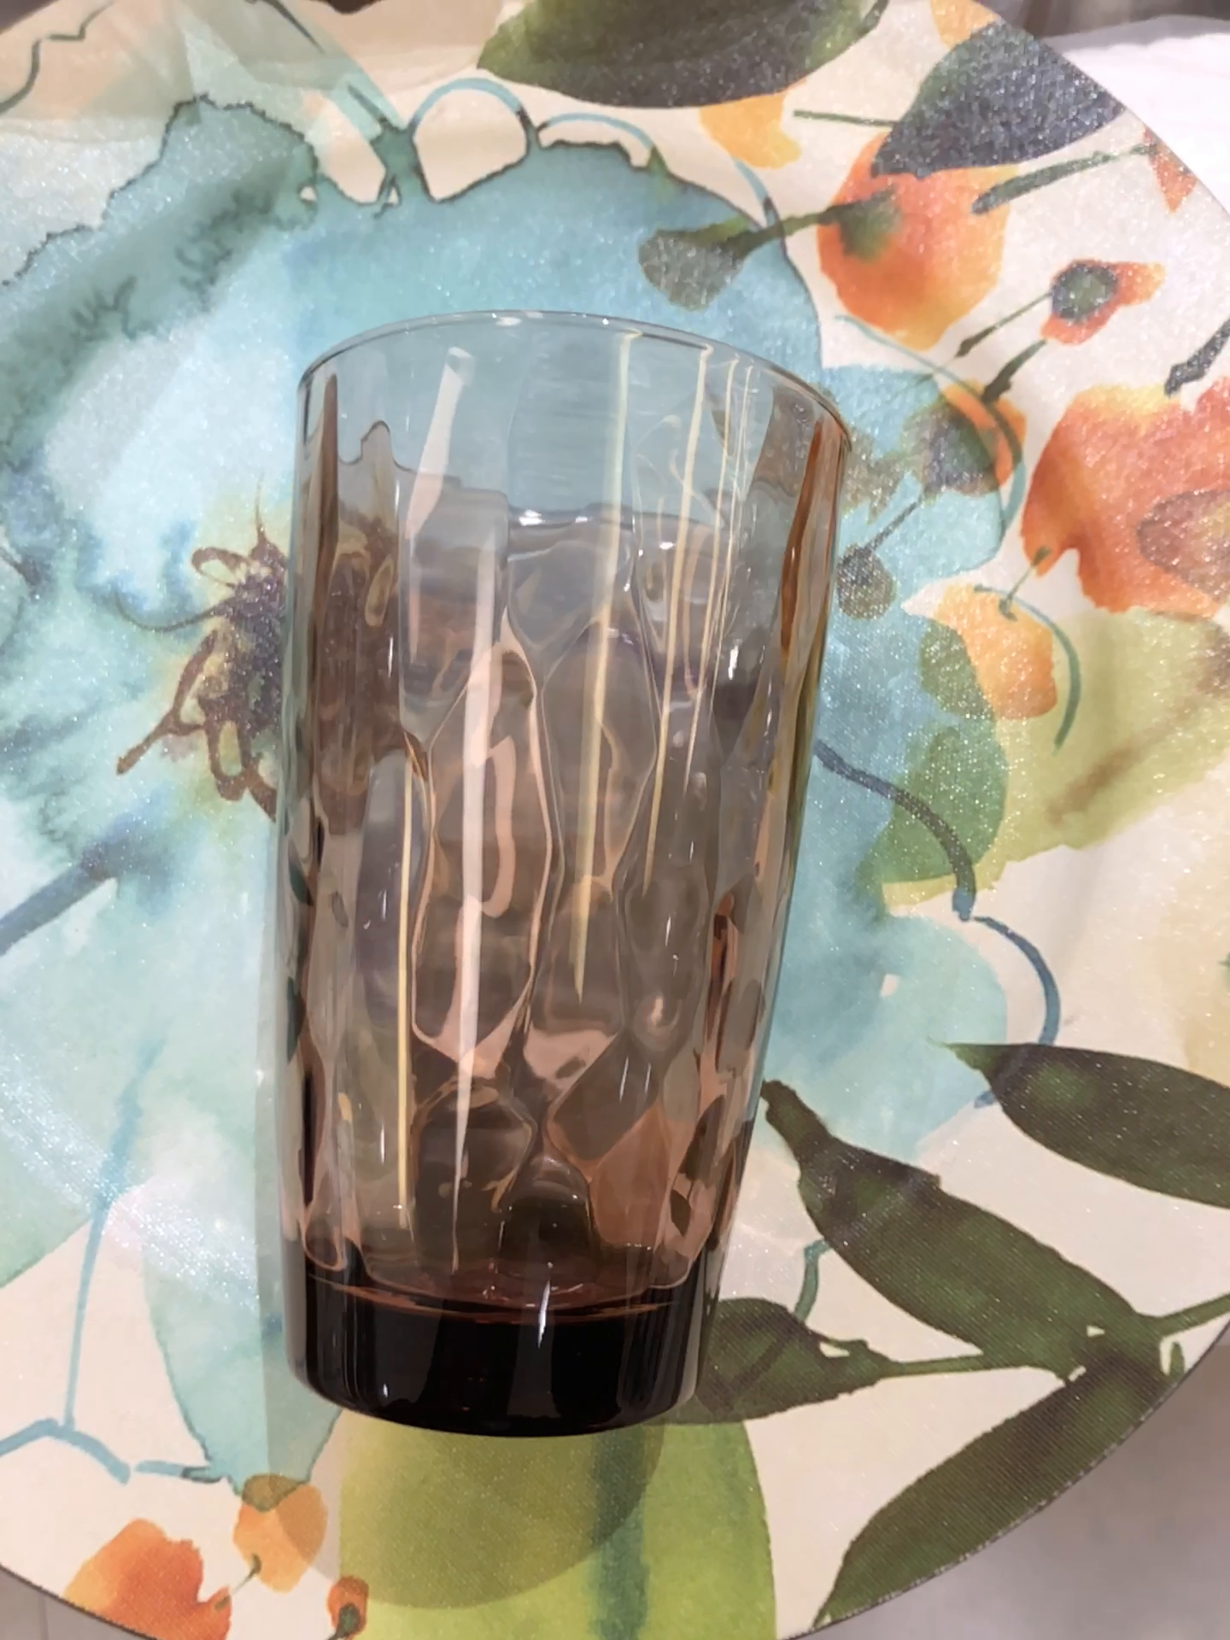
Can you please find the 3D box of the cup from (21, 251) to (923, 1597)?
[{"bbox_3d":[-0.011,0.012,0.198,0.090,0.080,0.150,4,78,2],"label":"cup"}]
